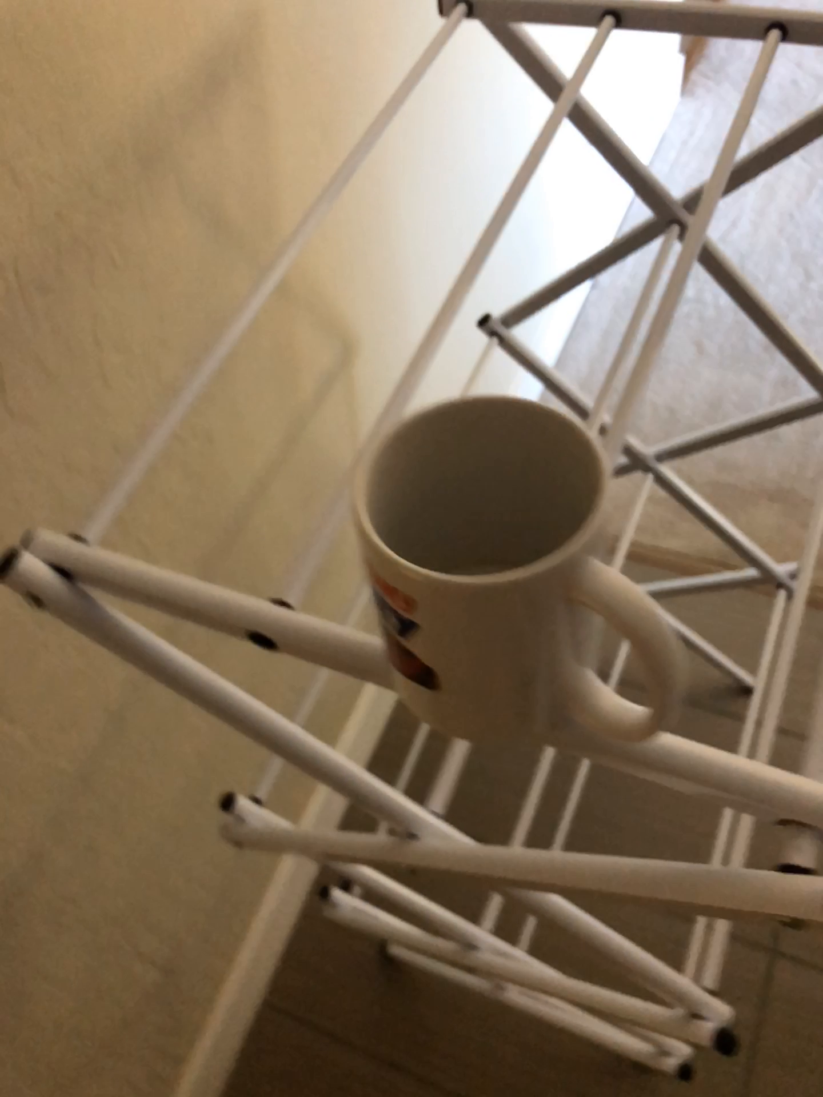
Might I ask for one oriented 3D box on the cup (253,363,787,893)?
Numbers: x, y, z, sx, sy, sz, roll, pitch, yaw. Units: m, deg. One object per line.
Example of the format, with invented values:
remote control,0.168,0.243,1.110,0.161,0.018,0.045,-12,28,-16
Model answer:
cup,0.033,0.021,0.308,0.130,0.090,0.090,33,62,32
